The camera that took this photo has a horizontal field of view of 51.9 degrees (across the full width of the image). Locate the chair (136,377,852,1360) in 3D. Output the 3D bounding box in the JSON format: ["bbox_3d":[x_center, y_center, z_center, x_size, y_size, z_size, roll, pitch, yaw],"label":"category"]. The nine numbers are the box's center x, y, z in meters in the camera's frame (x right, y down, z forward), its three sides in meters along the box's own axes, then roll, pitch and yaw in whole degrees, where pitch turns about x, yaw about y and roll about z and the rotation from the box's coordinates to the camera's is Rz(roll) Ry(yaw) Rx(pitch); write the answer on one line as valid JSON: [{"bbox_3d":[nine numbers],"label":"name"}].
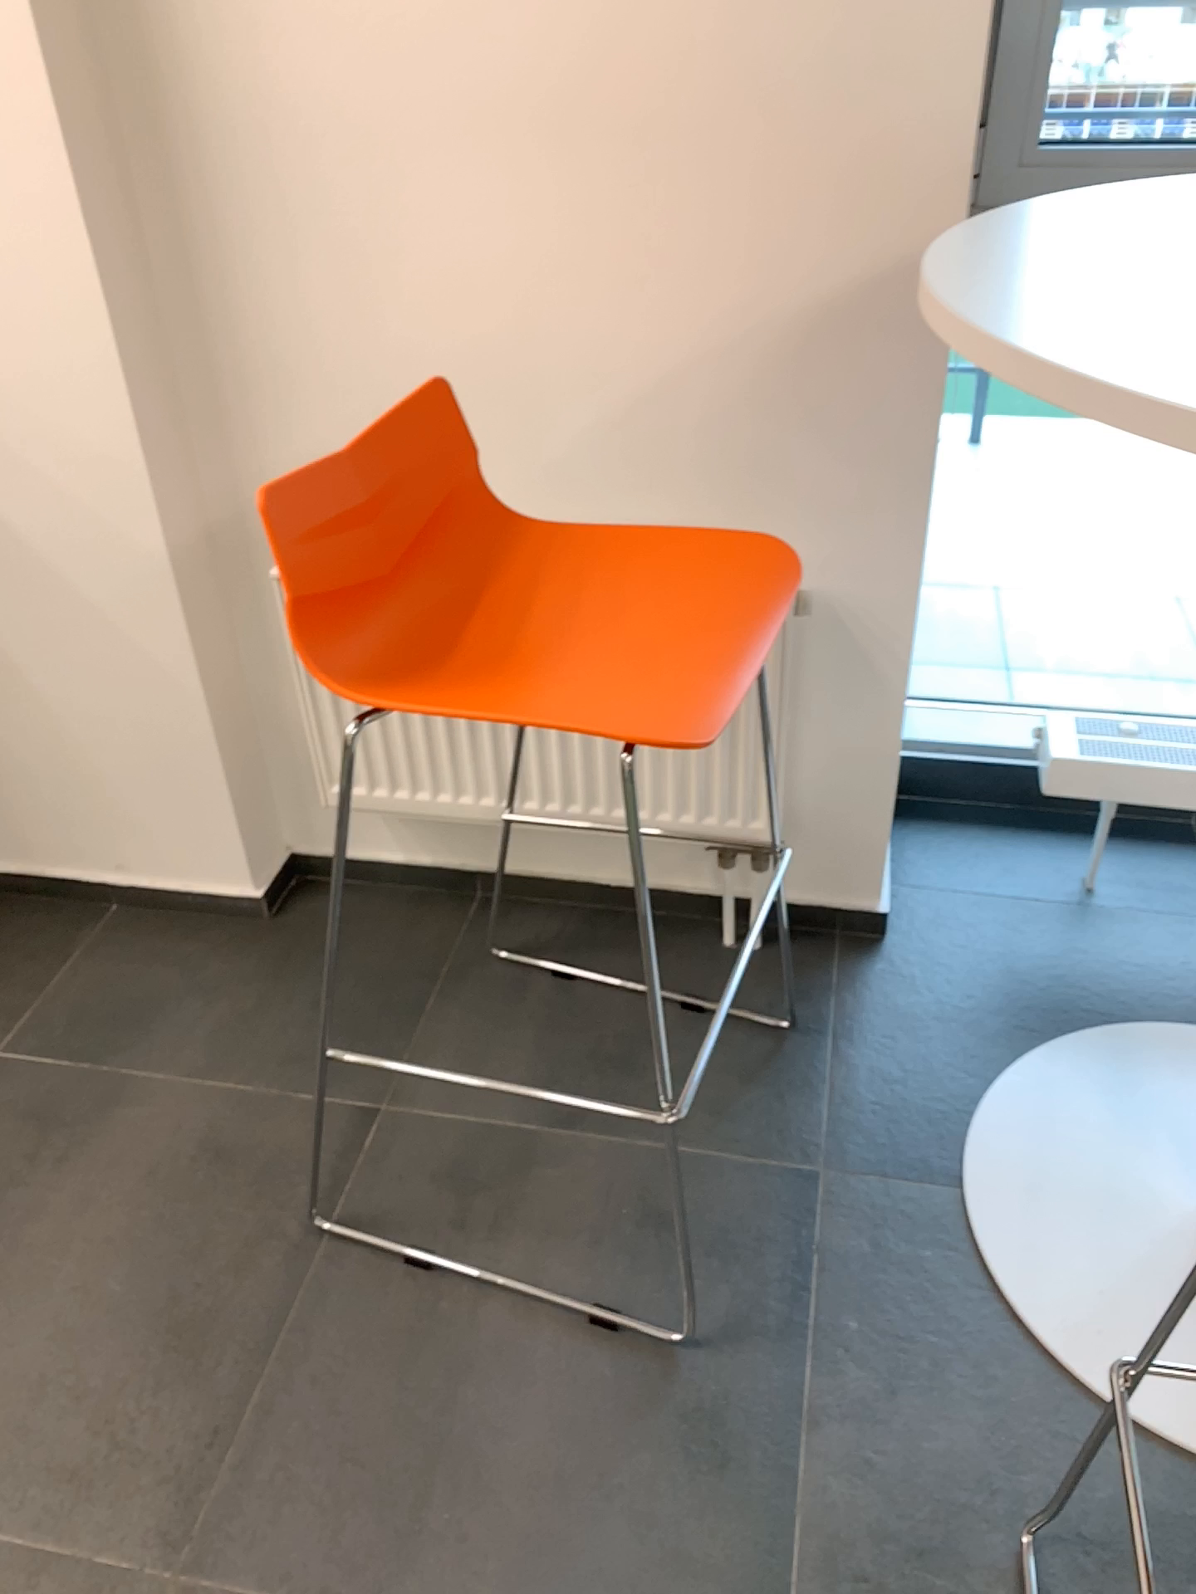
[{"bbox_3d":[-0.045,0.067,1.436,0.500,0.905,0.573,10,36,17],"label":"chair"}]
